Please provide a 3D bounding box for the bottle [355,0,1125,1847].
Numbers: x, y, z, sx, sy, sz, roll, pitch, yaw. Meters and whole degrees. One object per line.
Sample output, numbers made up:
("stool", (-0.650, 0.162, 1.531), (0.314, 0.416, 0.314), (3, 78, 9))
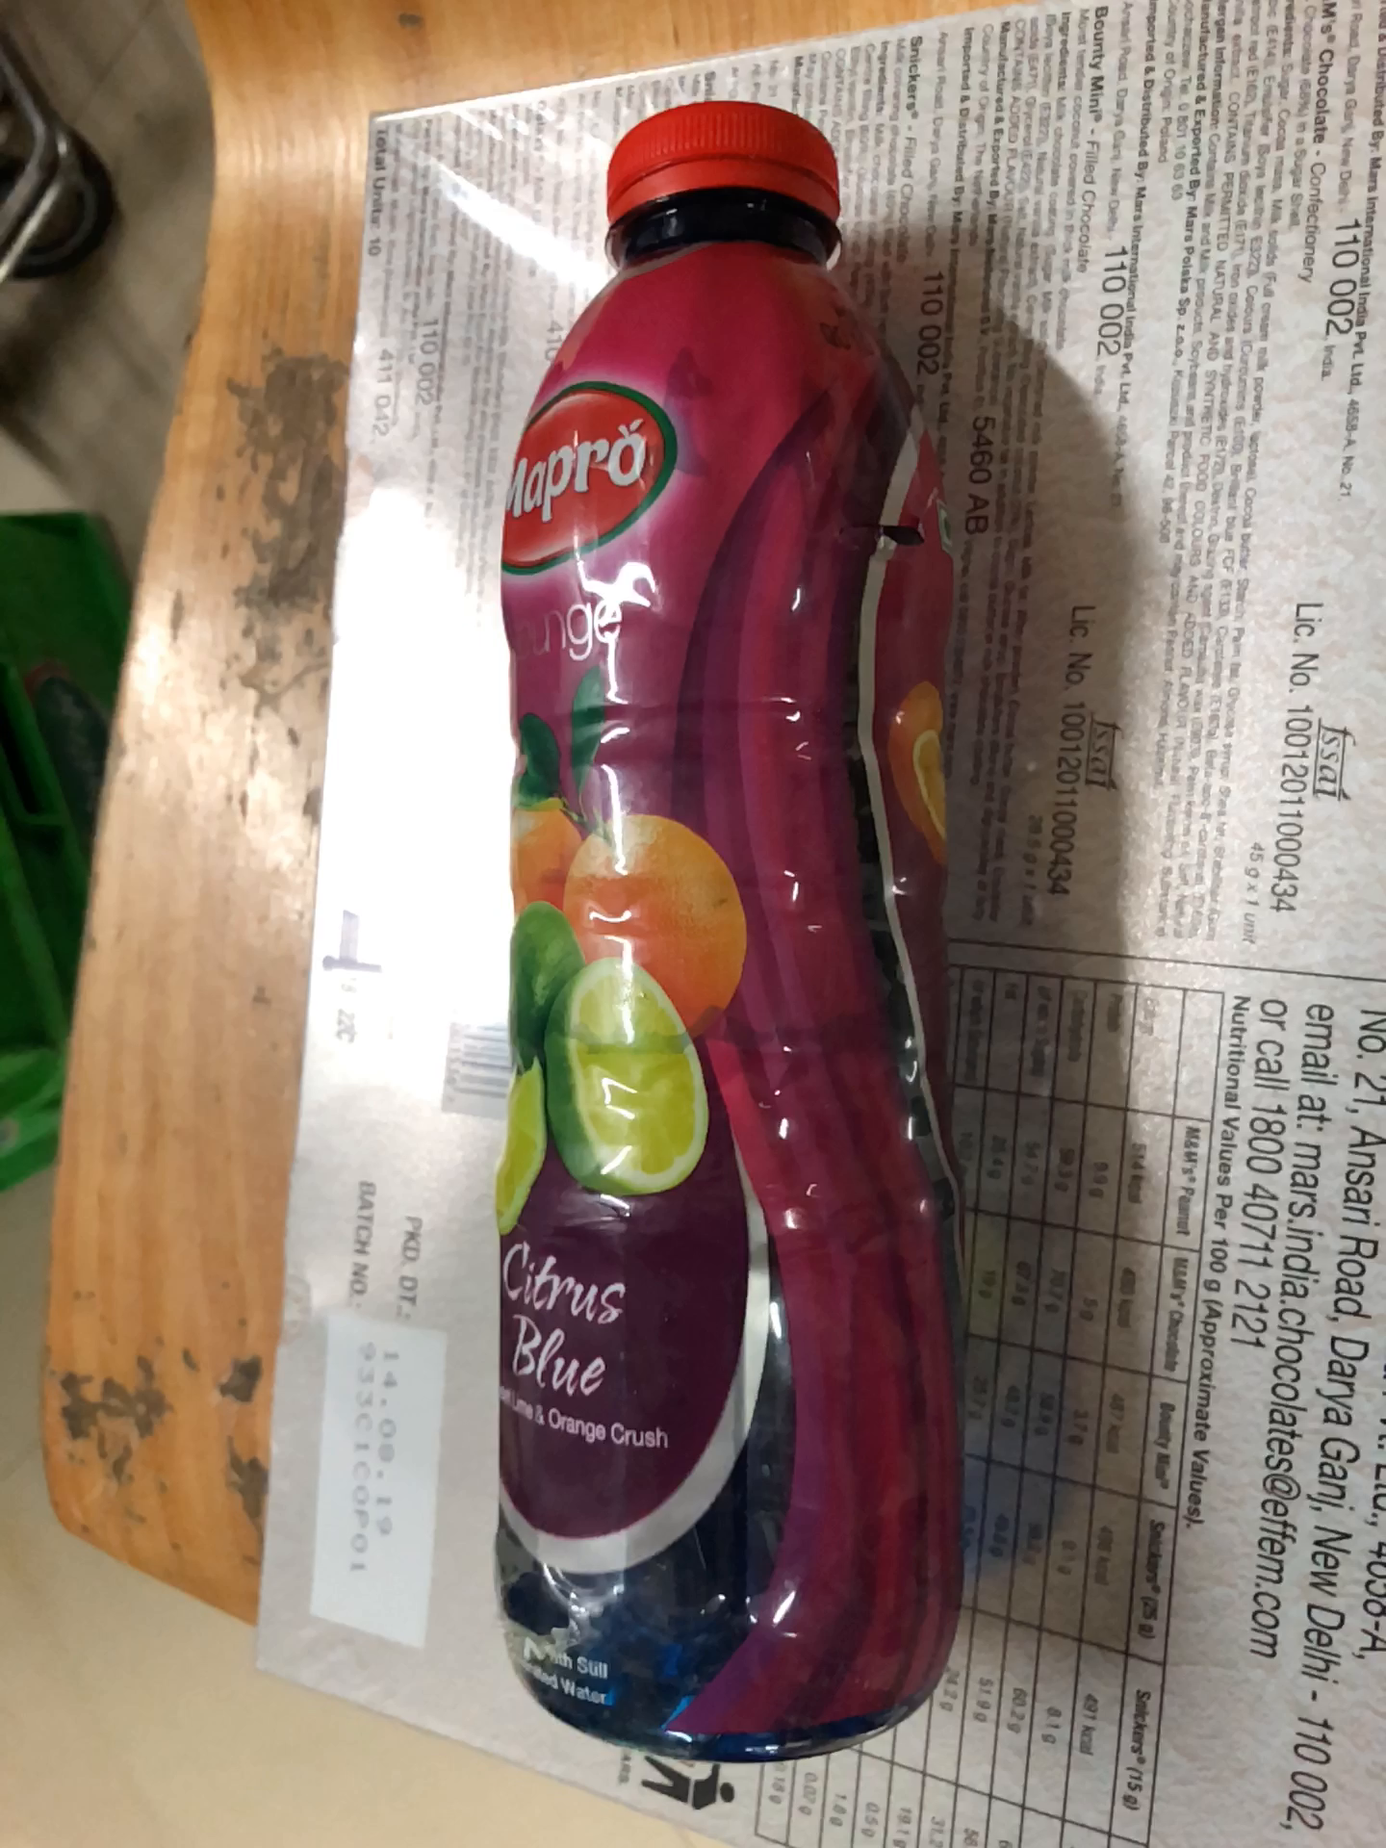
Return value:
("bottle", (0.007, -0.015, 0.252), (0.090, 0.080, 0.270), (0, 92, 49))
